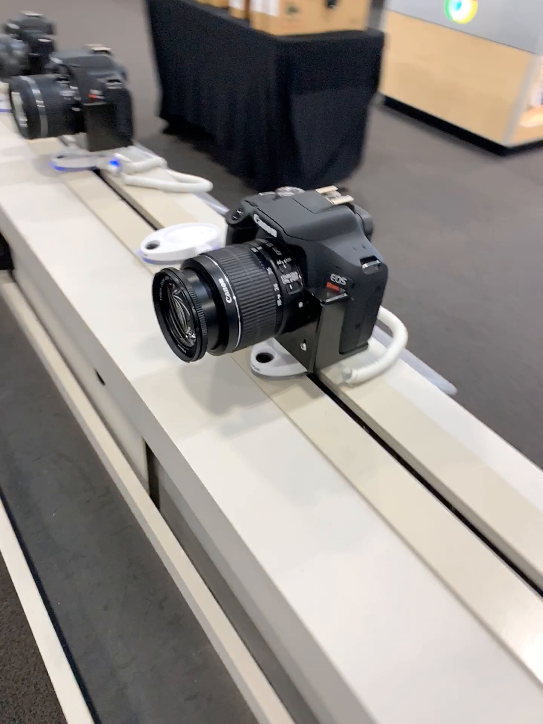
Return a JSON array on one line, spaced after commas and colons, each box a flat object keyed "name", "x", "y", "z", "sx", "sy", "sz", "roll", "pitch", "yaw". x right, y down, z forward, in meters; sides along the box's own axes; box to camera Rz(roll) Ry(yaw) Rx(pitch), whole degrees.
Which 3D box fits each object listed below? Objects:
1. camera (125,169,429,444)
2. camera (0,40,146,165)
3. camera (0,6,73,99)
[{"name": "camera", "x": -0.002, "y": -0.049, "z": 0.394, "sx": 0.146, "sy": 0.101, "sz": 0.134, "roll": -22, "pitch": 48, "yaw": -28}, {"name": "camera", "x": -0.243, "y": -0.314, "z": 0.671, "sx": 0.135, "sy": 0.089, "sz": 0.122, "roll": -26, "pitch": 51, "yaw": -32}, {"name": "camera", "x": -0.372, "y": -0.451, "z": 0.815, "sx": 0.111, "sy": 0.088, "sz": 0.112, "roll": -26, "pitch": 51, "yaw": -32}]
